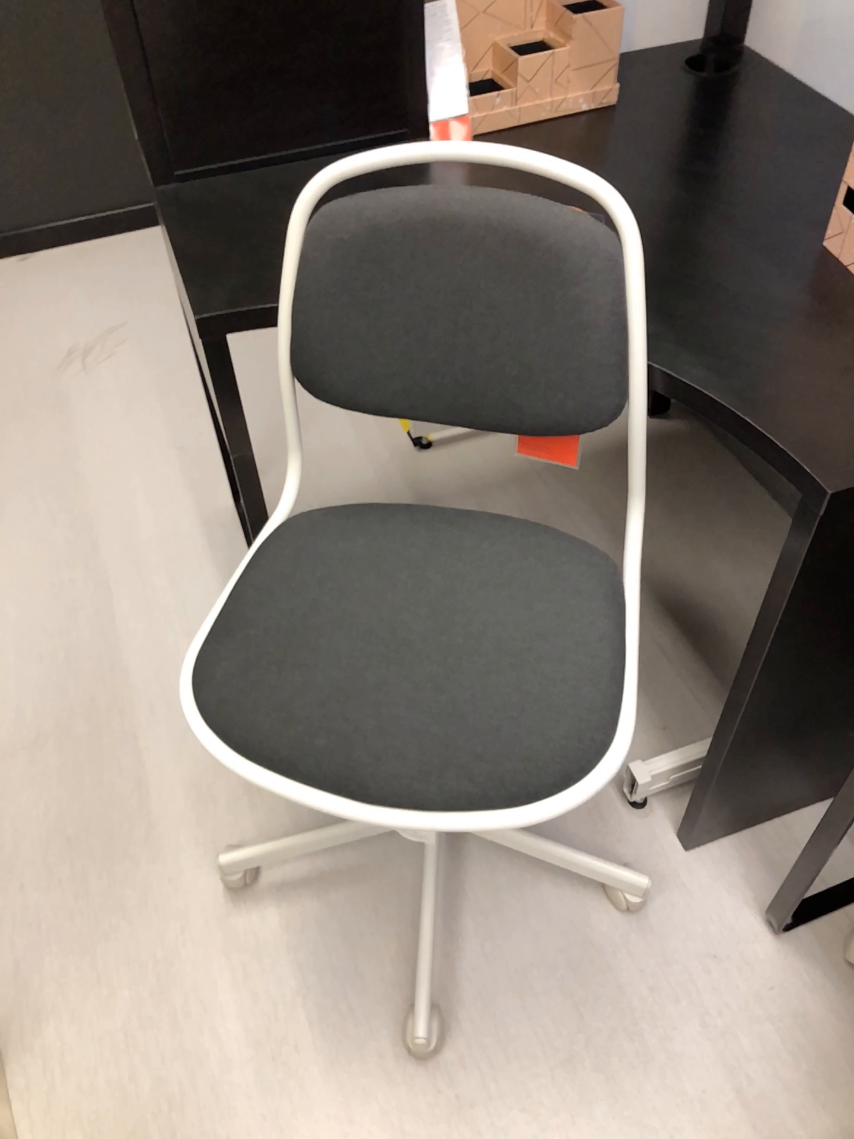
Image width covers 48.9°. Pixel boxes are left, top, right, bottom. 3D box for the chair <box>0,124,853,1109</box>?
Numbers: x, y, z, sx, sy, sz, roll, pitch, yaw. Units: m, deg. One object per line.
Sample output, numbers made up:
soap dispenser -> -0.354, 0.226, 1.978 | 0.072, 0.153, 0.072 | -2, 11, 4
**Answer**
chair -> -0.024, 0.100, 1.069 | 0.660, 0.905, 0.624 | 6, 49, 8
